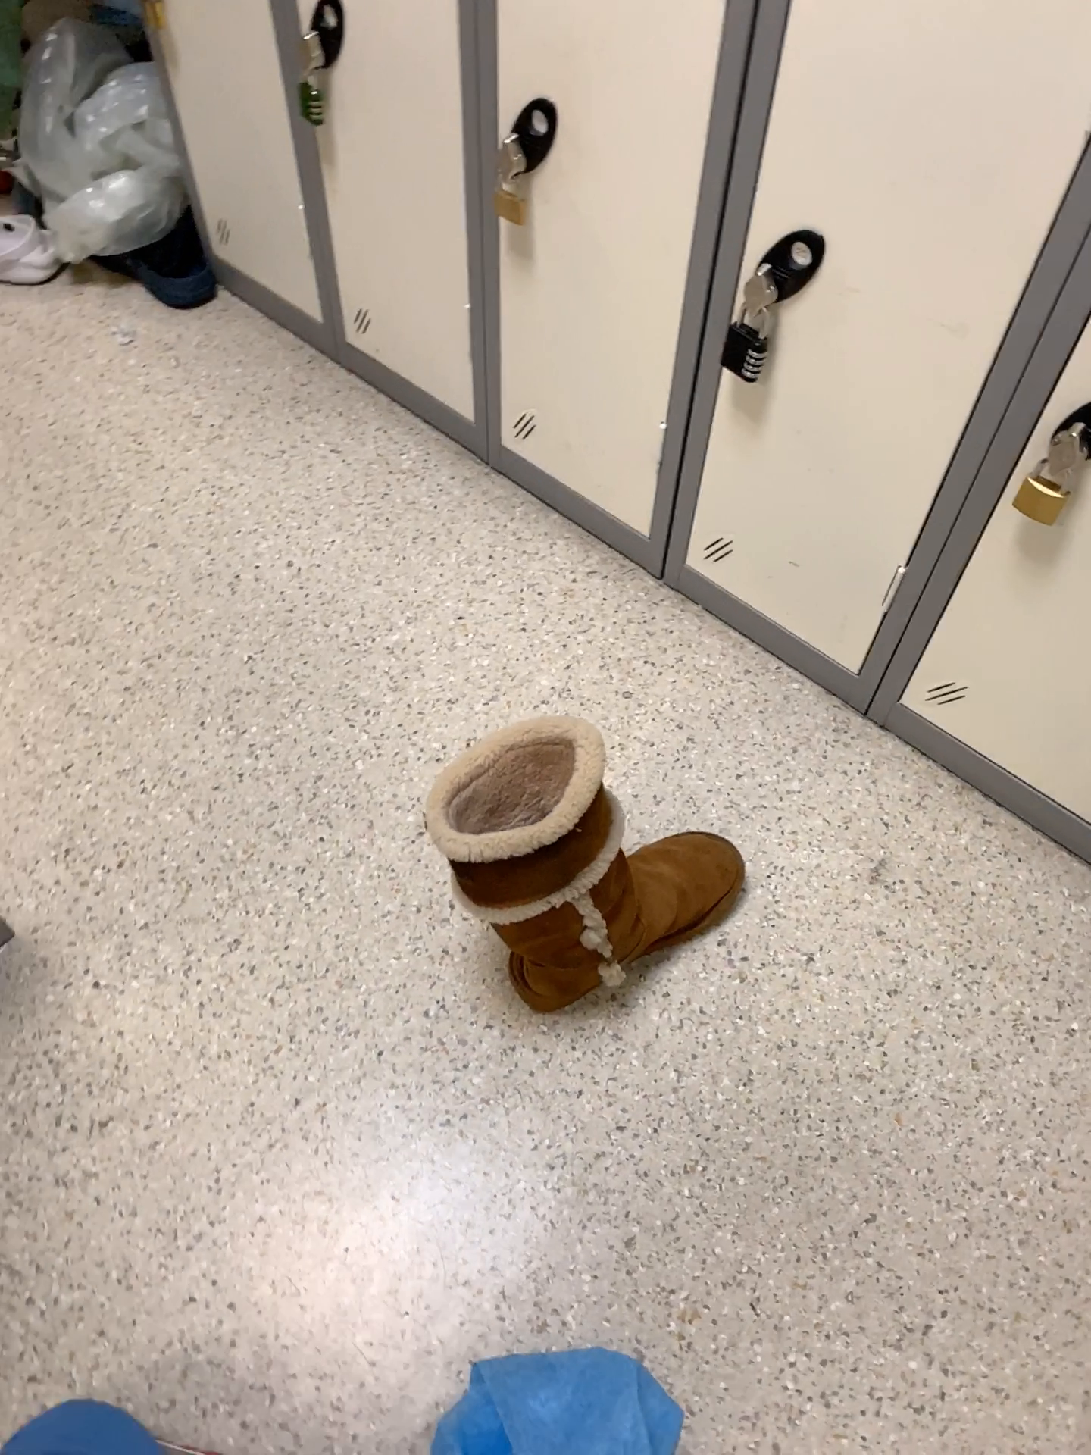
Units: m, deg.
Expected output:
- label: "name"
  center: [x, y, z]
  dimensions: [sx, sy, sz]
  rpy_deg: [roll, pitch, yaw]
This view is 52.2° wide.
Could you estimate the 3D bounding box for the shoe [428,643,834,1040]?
- label: "shoe"
  center: [0.071, 0.109, 1.038]
  dimensions: [0.306, 0.244, 0.158]
  rpy_deg: [-25, 60, -17]
